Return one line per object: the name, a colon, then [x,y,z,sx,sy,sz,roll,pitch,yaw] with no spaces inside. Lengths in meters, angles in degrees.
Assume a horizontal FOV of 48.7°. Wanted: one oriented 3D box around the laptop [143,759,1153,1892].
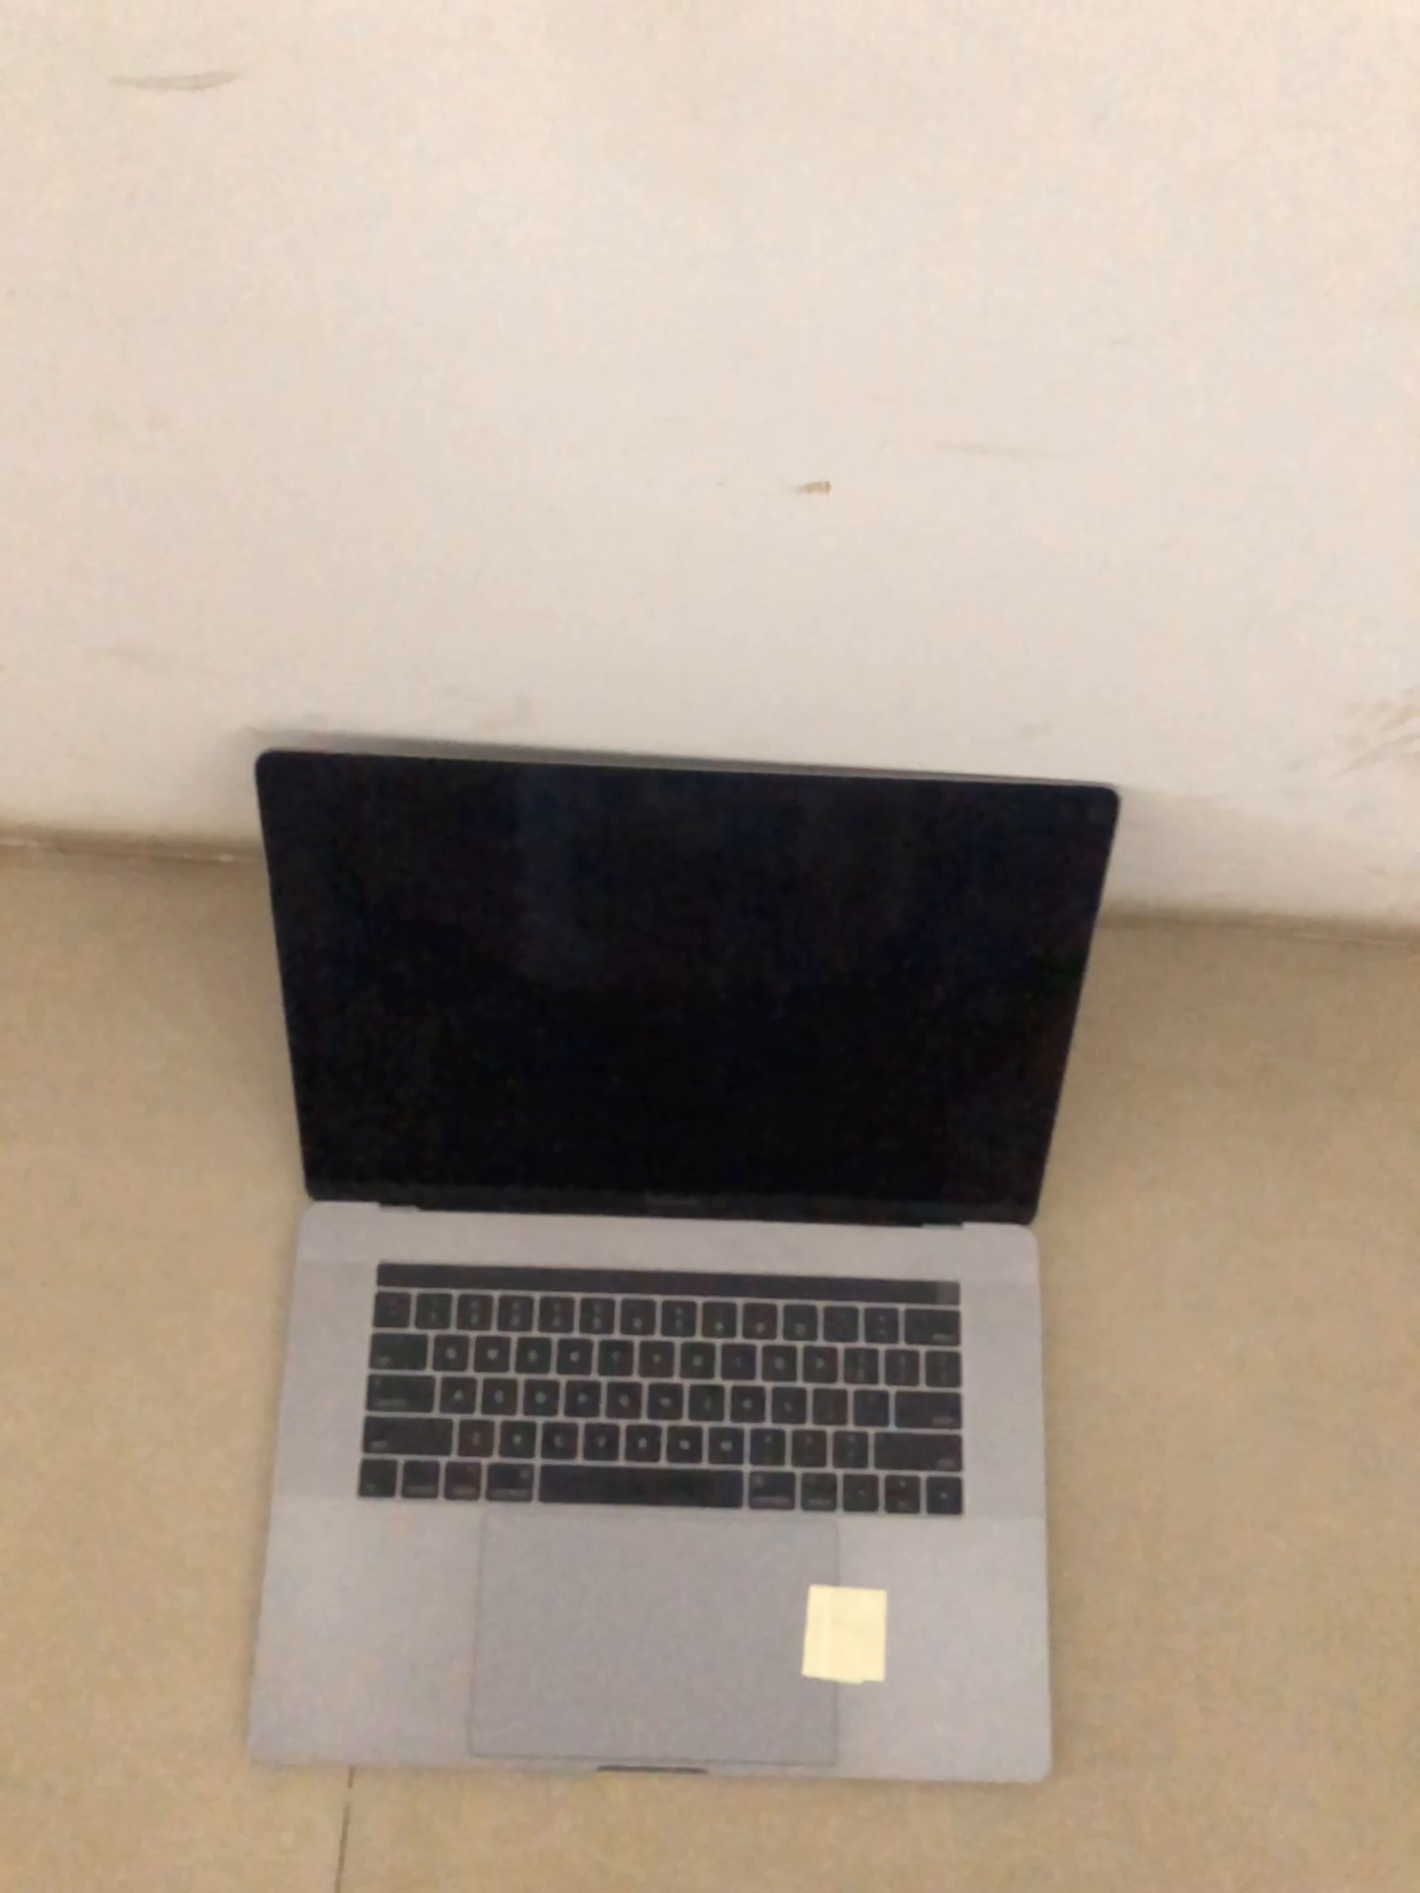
laptop: [-0.016,0.141,0.637,0.329,0.163,0.380,2,75,-1]
